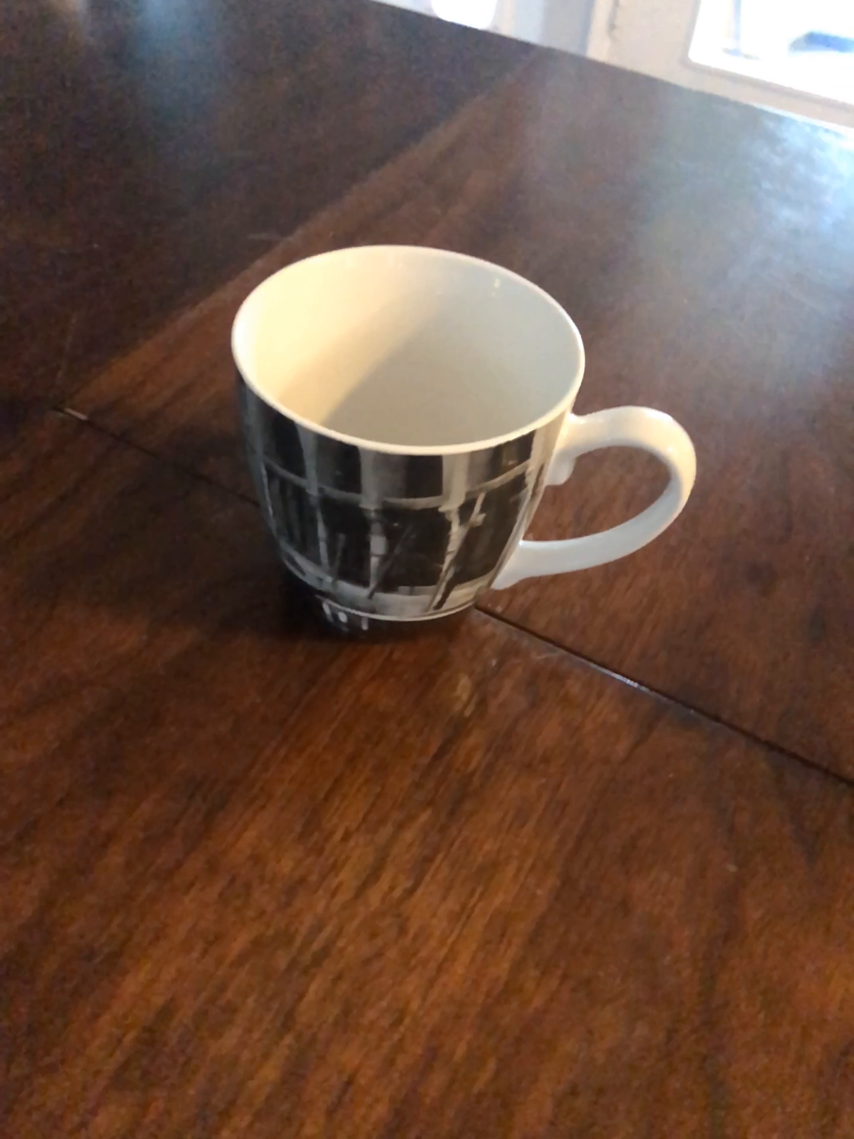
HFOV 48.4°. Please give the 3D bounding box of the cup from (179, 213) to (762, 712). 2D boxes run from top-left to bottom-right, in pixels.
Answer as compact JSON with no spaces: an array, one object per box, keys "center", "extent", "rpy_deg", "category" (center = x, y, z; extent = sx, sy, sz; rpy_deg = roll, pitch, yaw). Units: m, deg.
[{"center":[0.016,-0.035,0.287],"extent":[0.140,0.080,0.100],"rpy_deg":[11,48,5],"category":"cup"}]
